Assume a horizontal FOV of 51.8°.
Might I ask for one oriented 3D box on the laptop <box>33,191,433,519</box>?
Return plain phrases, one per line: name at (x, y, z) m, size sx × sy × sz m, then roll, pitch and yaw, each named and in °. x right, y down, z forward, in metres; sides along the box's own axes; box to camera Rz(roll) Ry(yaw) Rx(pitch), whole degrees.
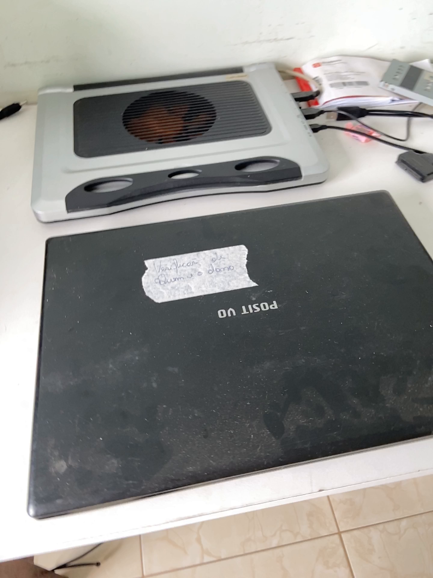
laptop at (0.028, 0.023, 0.363) m, size 0.328 × 0.008 × 0.234 m, roll -9°, pitch 53°, yaw -6°
